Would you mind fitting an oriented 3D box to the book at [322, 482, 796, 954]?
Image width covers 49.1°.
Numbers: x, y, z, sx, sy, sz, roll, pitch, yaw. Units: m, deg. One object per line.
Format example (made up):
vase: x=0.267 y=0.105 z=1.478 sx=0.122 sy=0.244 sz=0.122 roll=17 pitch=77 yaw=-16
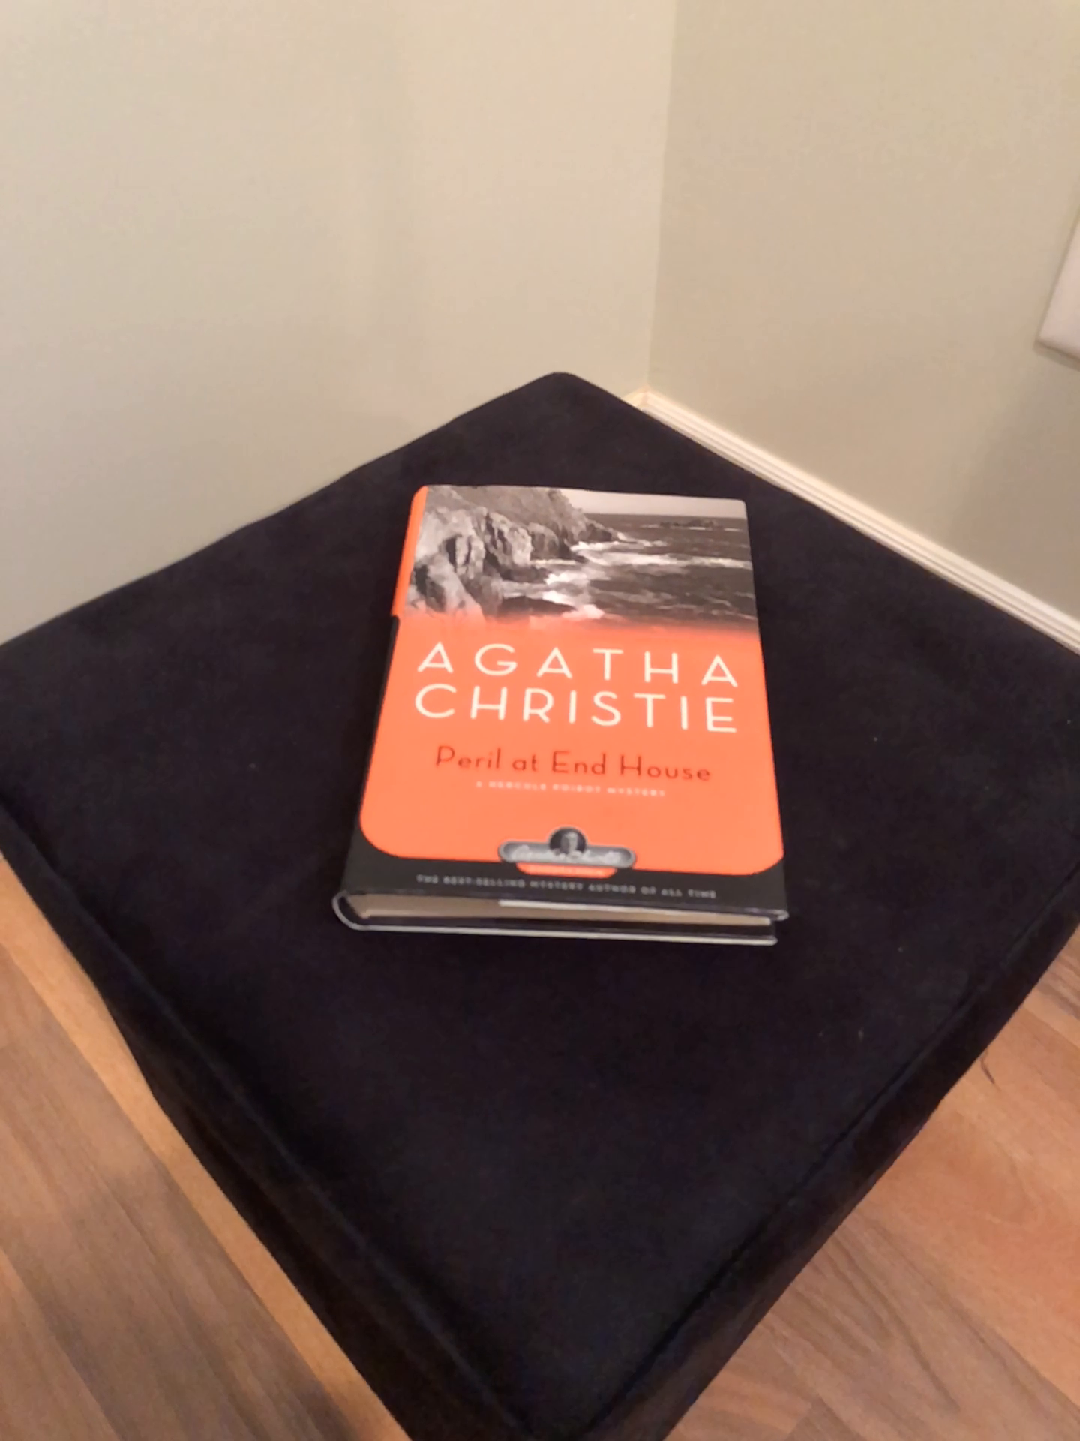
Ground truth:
book: x=0.010 y=-0.013 z=0.445 sx=0.146 sy=0.030 sz=0.207 roll=2 pitch=48 yaw=1
